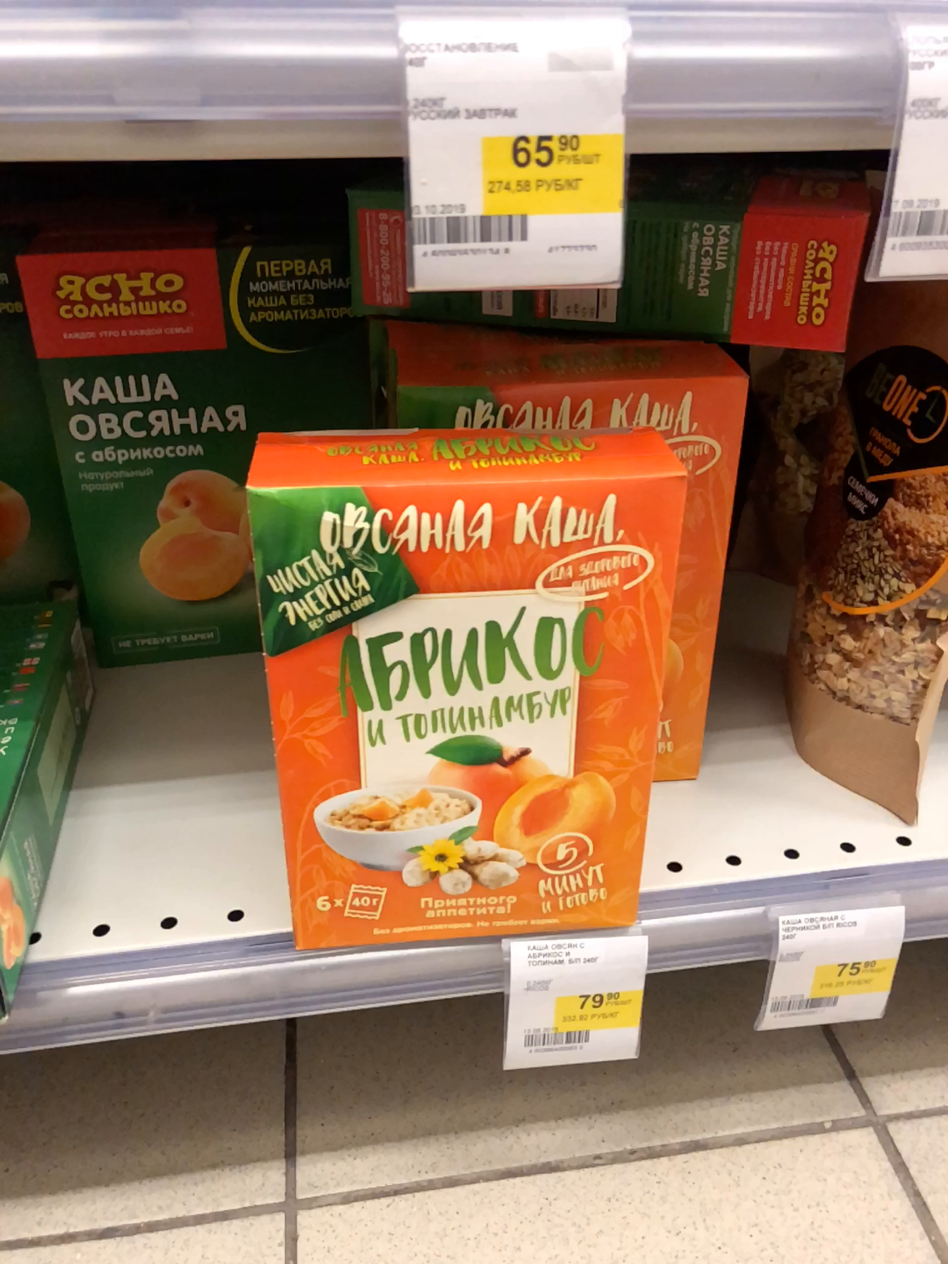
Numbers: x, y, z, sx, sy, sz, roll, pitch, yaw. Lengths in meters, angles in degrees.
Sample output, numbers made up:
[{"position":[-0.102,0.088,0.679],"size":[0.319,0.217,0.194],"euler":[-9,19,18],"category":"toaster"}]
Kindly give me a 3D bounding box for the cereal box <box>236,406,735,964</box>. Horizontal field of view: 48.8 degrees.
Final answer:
[{"position":[0.003,0.024,0.361],"size":[0.140,0.189,0.050],"euler":[-3,31,-4],"category":"cereal box"}]
